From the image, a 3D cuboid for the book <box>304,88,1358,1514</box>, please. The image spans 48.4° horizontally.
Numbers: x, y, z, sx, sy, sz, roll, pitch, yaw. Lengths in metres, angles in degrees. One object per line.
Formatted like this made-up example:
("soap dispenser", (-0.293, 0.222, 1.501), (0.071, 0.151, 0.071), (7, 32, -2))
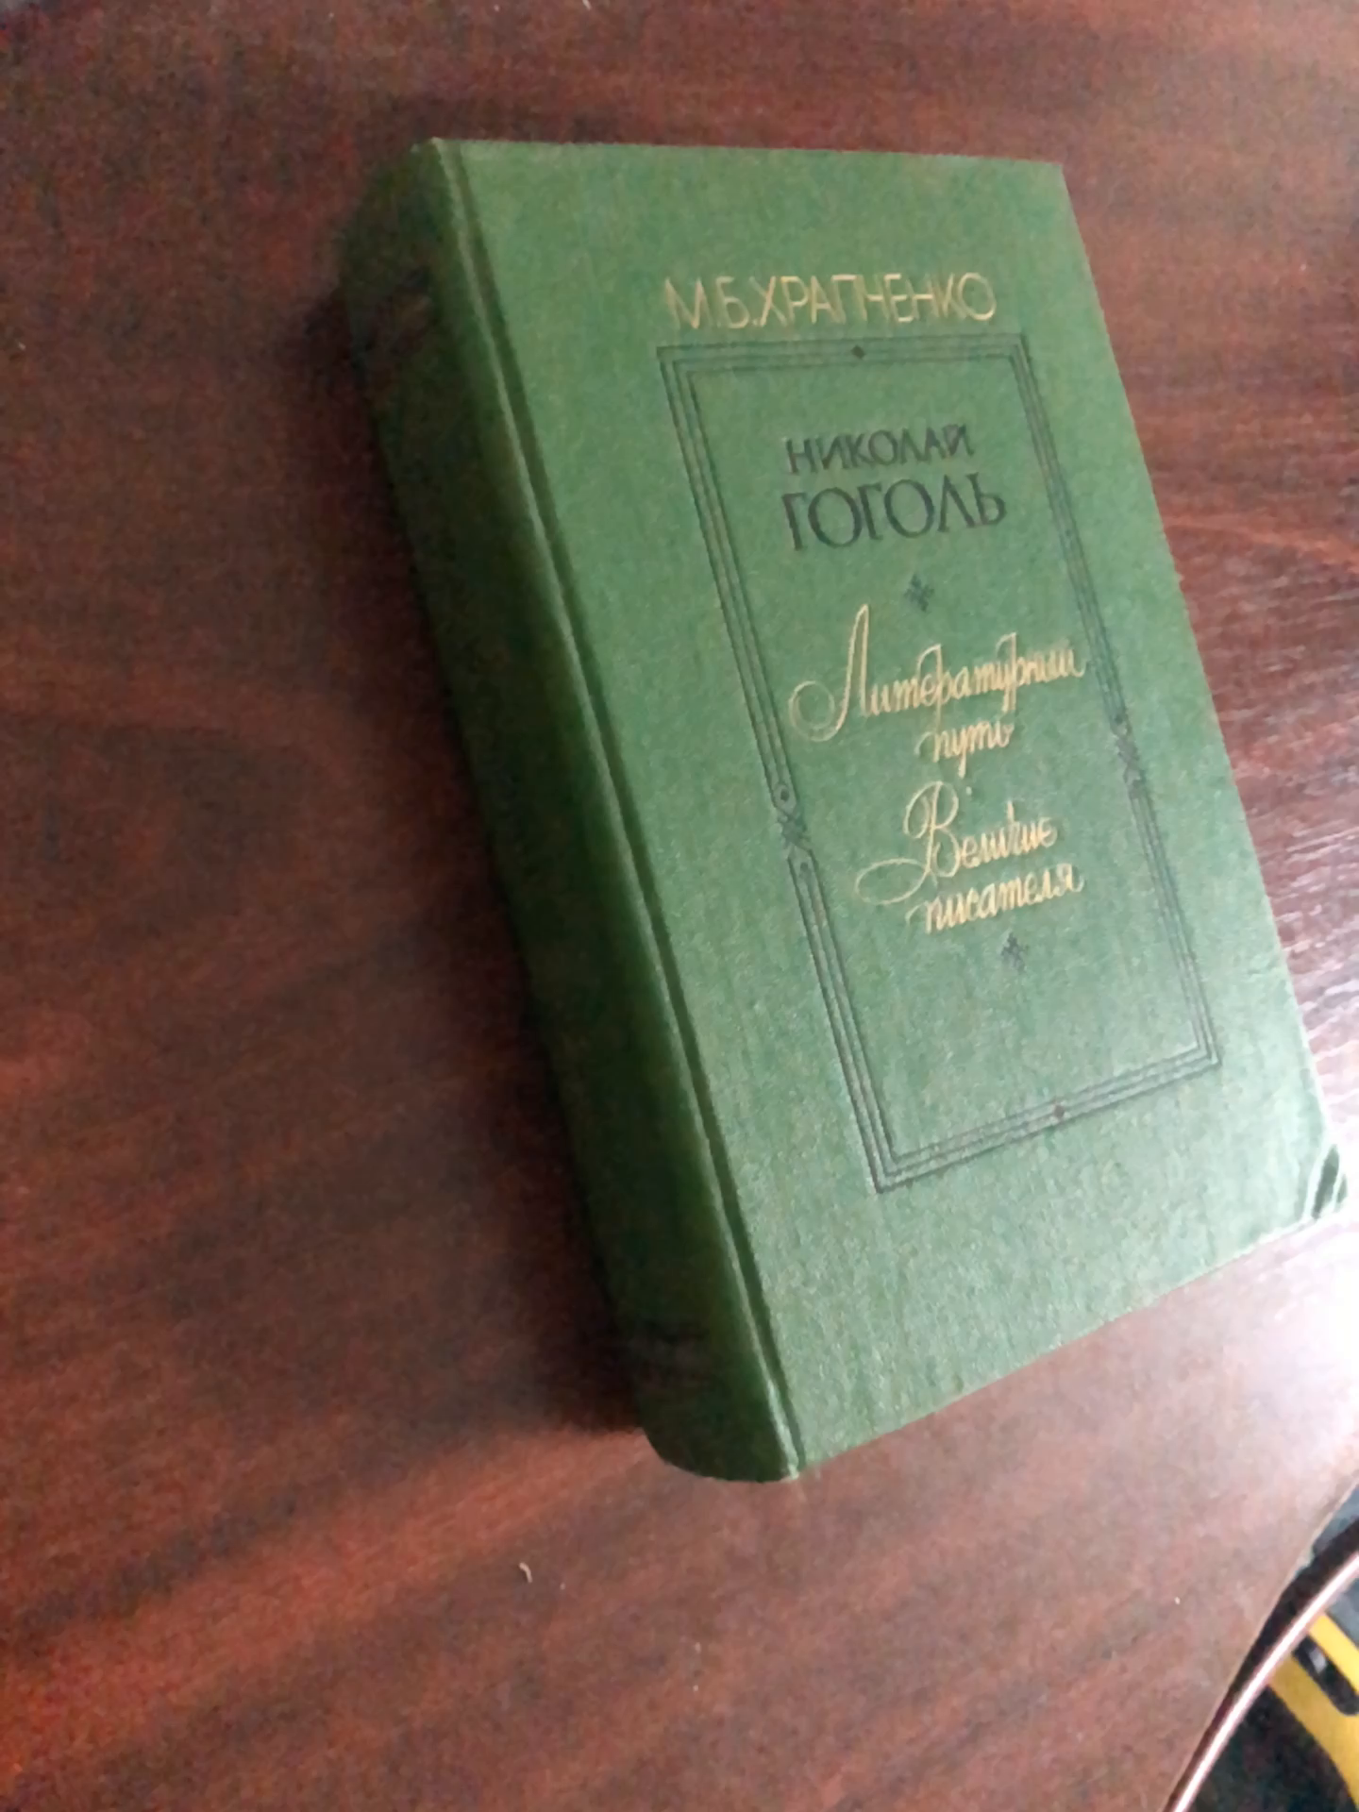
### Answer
("book", (0.030, -0.026, 0.264), (0.130, 0.050, 0.206), (-15, 89, -30))
